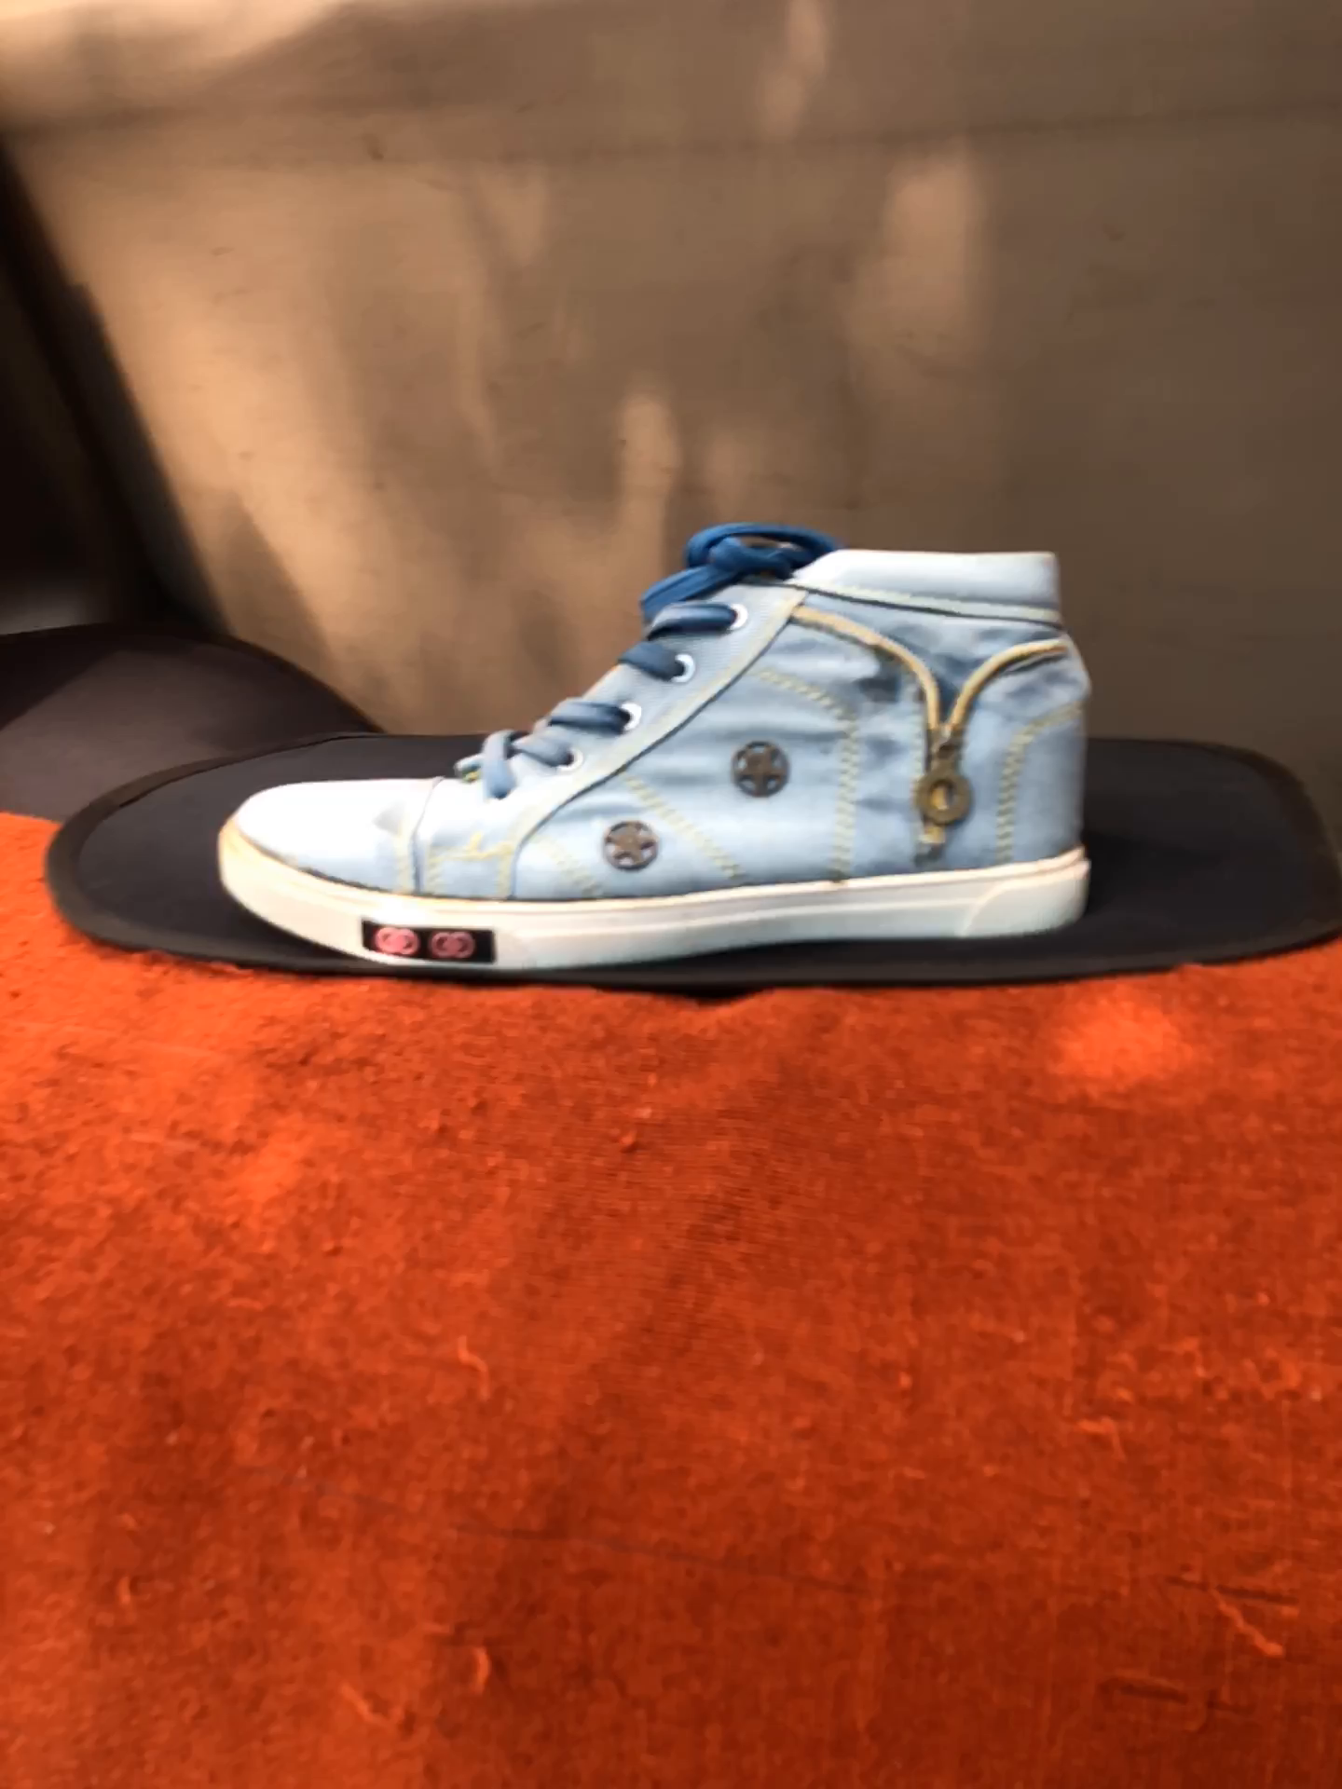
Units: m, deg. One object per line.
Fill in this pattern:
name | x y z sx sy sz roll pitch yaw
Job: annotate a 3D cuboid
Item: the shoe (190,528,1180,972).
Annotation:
shoe | 0.004 -0.051 0.455 0.260 0.110 0.110 -1 19 -2
